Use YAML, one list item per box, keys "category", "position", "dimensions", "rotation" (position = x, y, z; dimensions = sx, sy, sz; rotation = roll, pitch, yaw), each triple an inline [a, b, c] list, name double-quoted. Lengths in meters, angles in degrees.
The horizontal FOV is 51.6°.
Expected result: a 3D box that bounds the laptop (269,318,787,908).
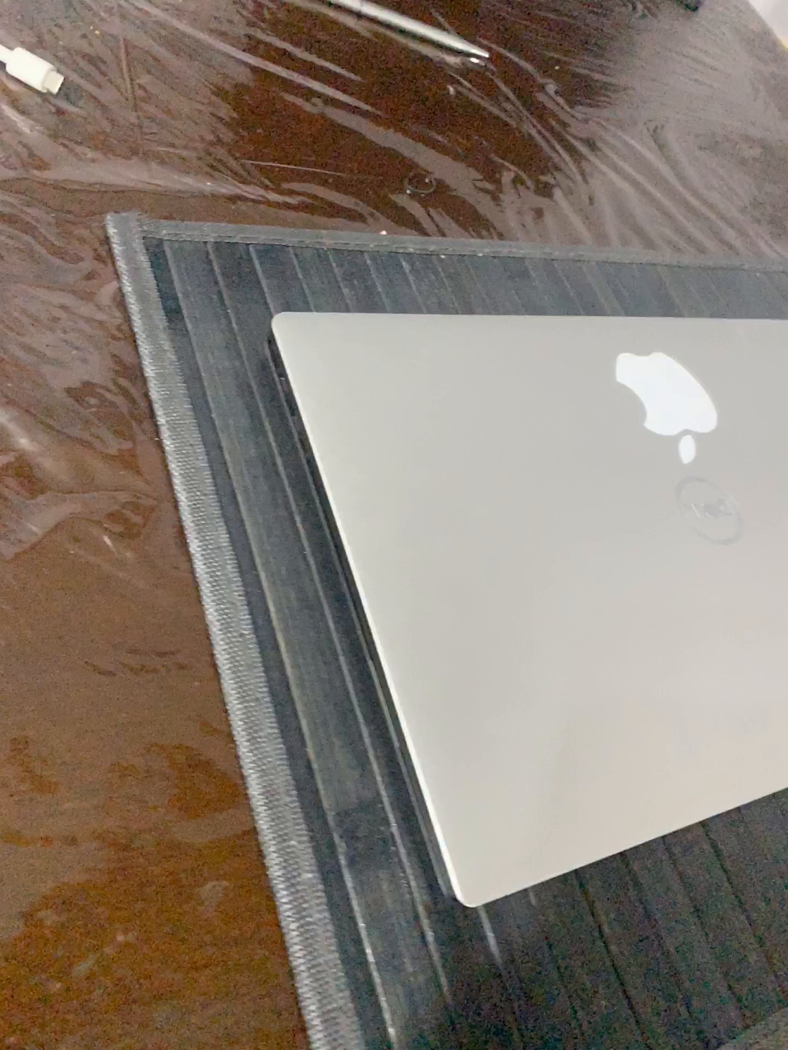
- category: "laptop"
  position: [0.108, -0.004, 0.295]
  dimensions: [0.272, 0.001, 0.188]
  rotation: [-7, 62, -27]
